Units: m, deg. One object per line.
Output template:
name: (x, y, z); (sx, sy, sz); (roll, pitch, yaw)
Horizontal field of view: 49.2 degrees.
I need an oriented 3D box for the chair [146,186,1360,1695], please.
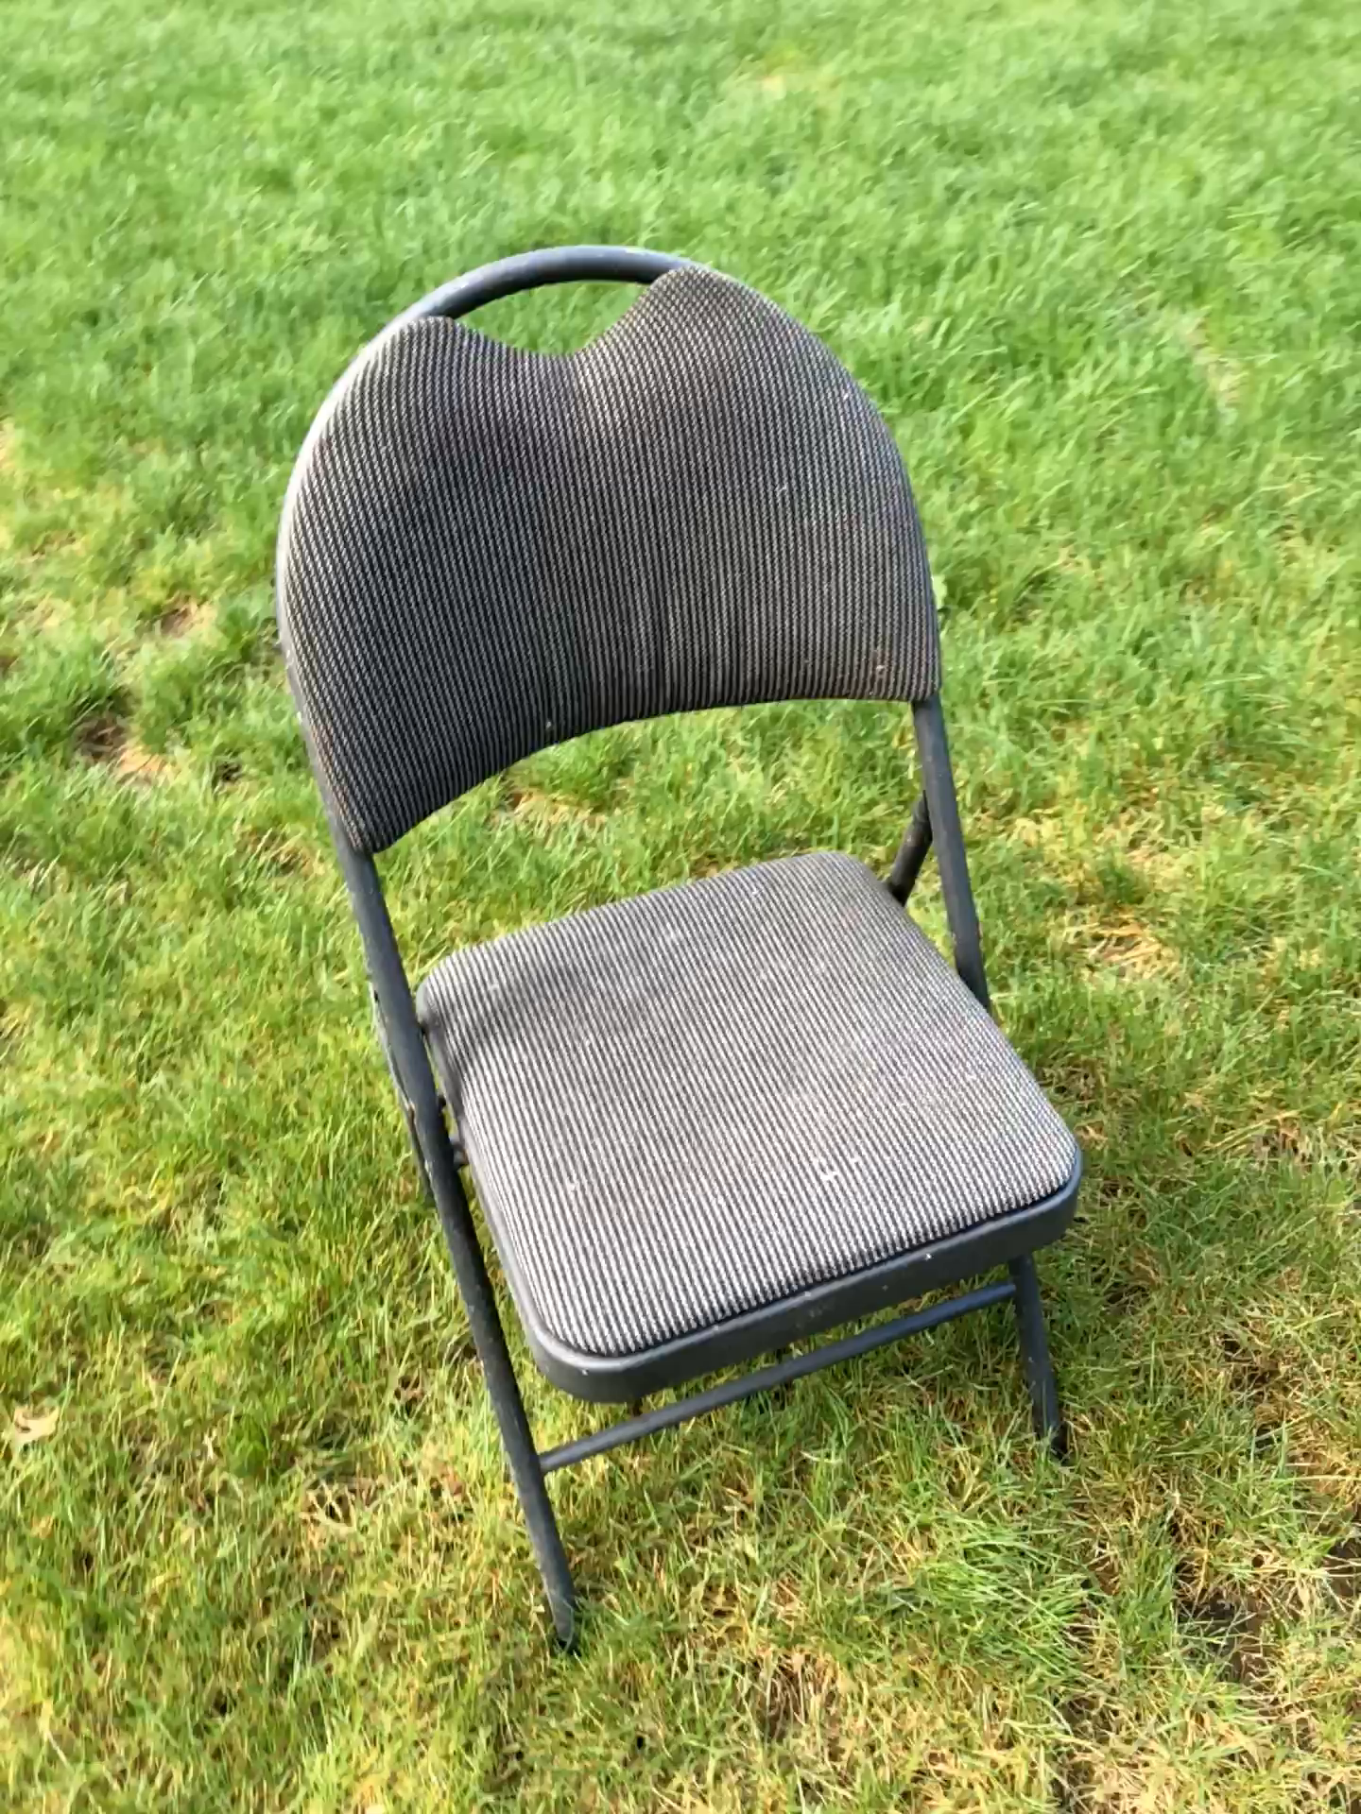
chair: (0.024, 0.037, 1.077); (0.530, 0.815, 0.573); (-15, 45, -13)
